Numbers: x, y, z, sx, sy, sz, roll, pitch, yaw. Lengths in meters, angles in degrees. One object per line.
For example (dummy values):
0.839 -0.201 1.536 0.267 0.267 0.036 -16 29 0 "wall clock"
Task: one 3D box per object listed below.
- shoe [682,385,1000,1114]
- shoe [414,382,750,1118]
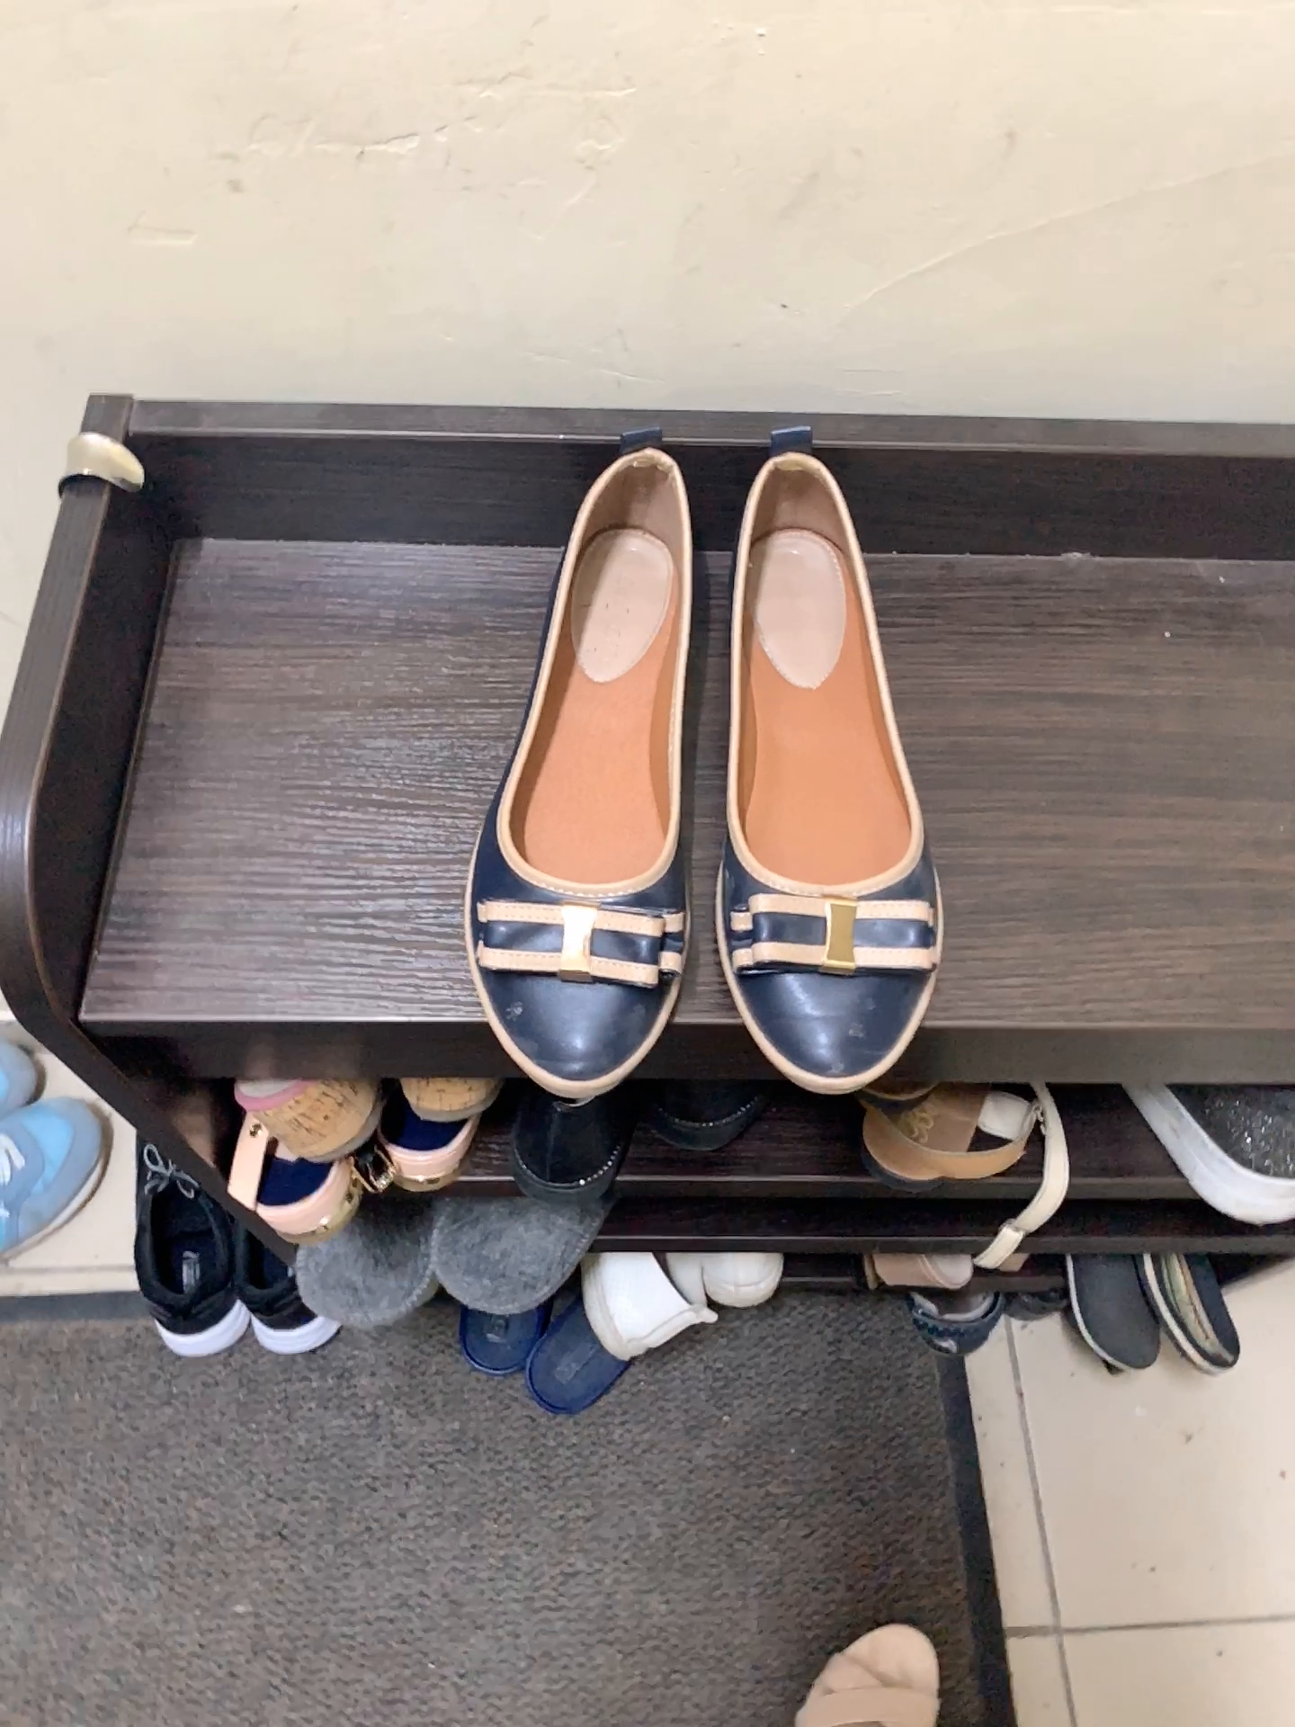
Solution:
0.067 -0.051 0.531 0.100 0.100 0.281 -1 61 4 "shoe"
-0.012 -0.052 0.525 0.100 0.100 0.281 1 61 5 "shoe"
